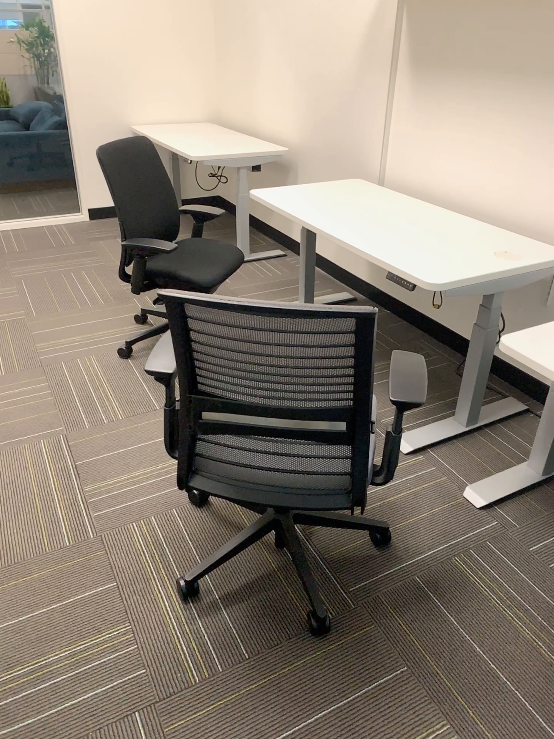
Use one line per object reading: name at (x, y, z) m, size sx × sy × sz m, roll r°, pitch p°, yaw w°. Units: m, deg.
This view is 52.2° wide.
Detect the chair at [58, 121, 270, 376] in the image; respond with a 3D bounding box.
chair at (-0.482, -0.631, 2.807) m, size 0.701 × 0.994 × 0.734 m, roll 9°, pitch 31°, yaw 12°

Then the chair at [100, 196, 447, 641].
chair at (0.000, 0.117, 1.565) m, size 0.640 × 0.994 × 0.644 m, roll 4°, pitch 30°, yaw 3°
